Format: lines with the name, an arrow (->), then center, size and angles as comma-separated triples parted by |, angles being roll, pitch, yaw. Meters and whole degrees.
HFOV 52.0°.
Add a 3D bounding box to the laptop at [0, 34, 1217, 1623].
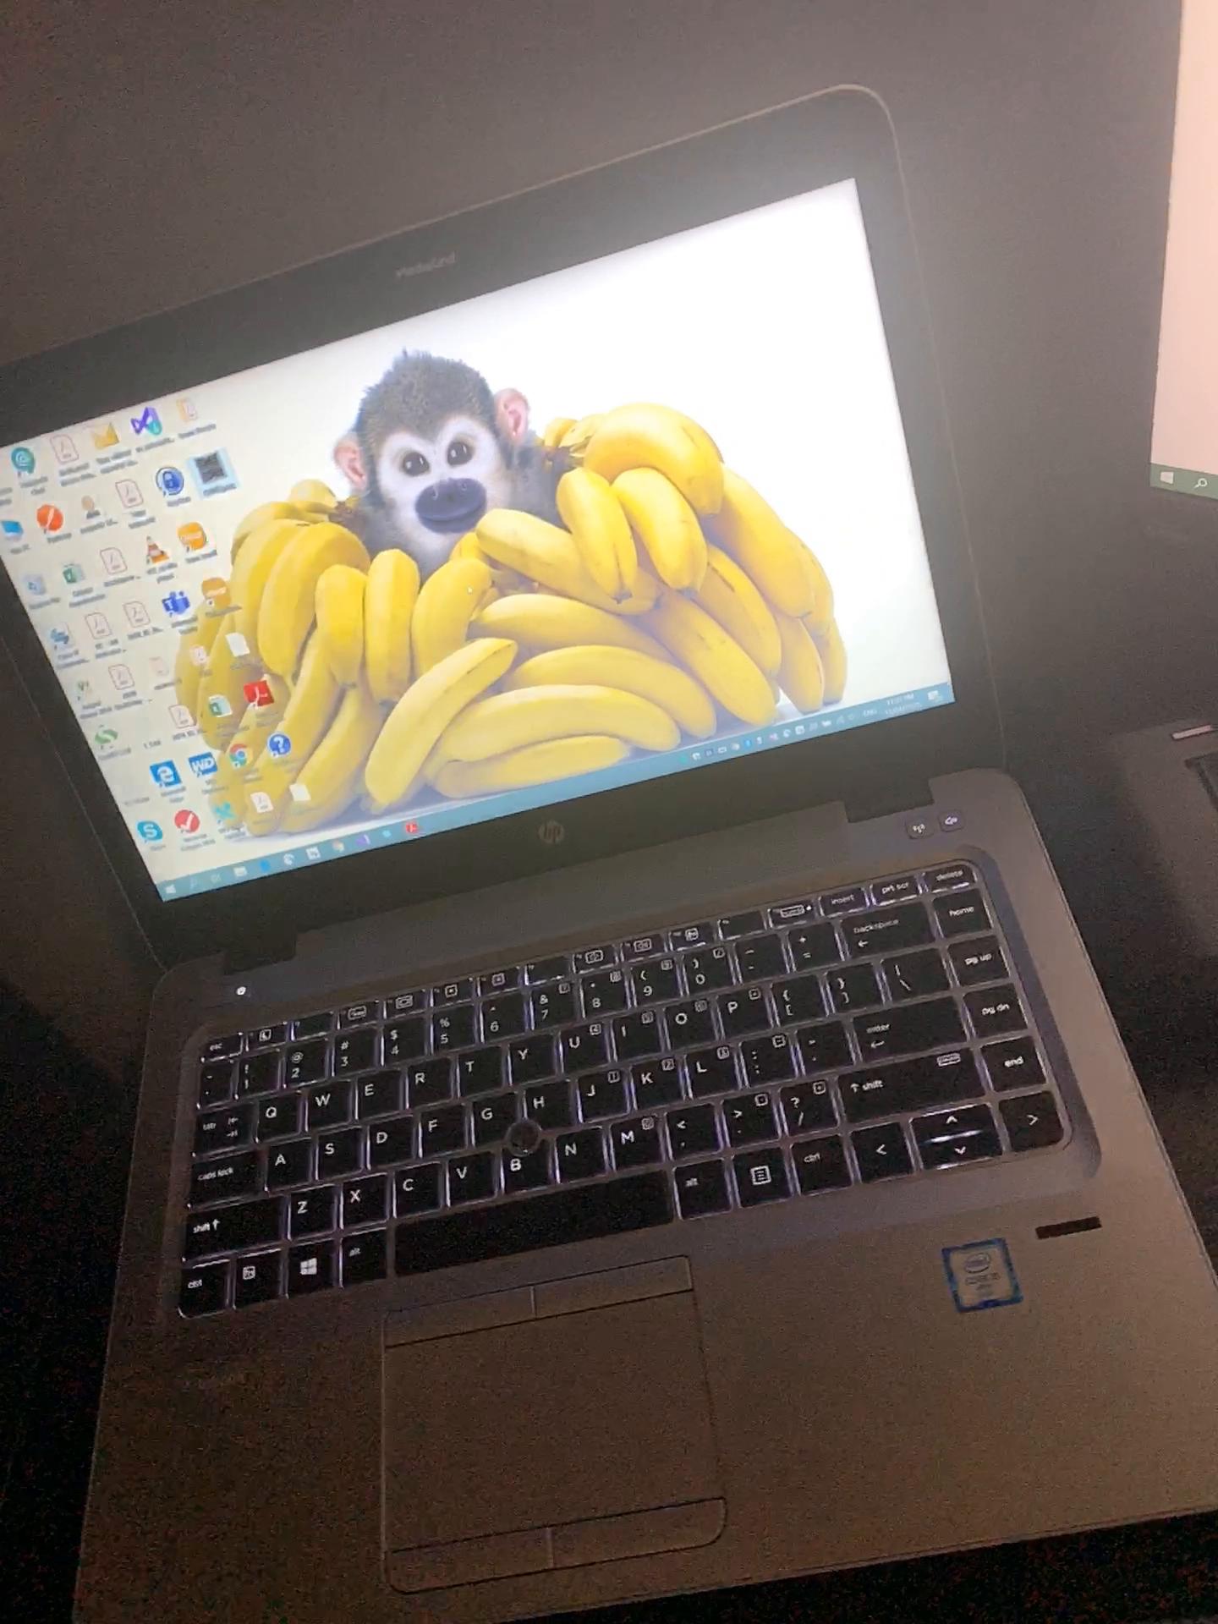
laptop -> -0.057, 0.006, 0.351 | 0.318, 0.191, 0.327 | -15, 50, 9
